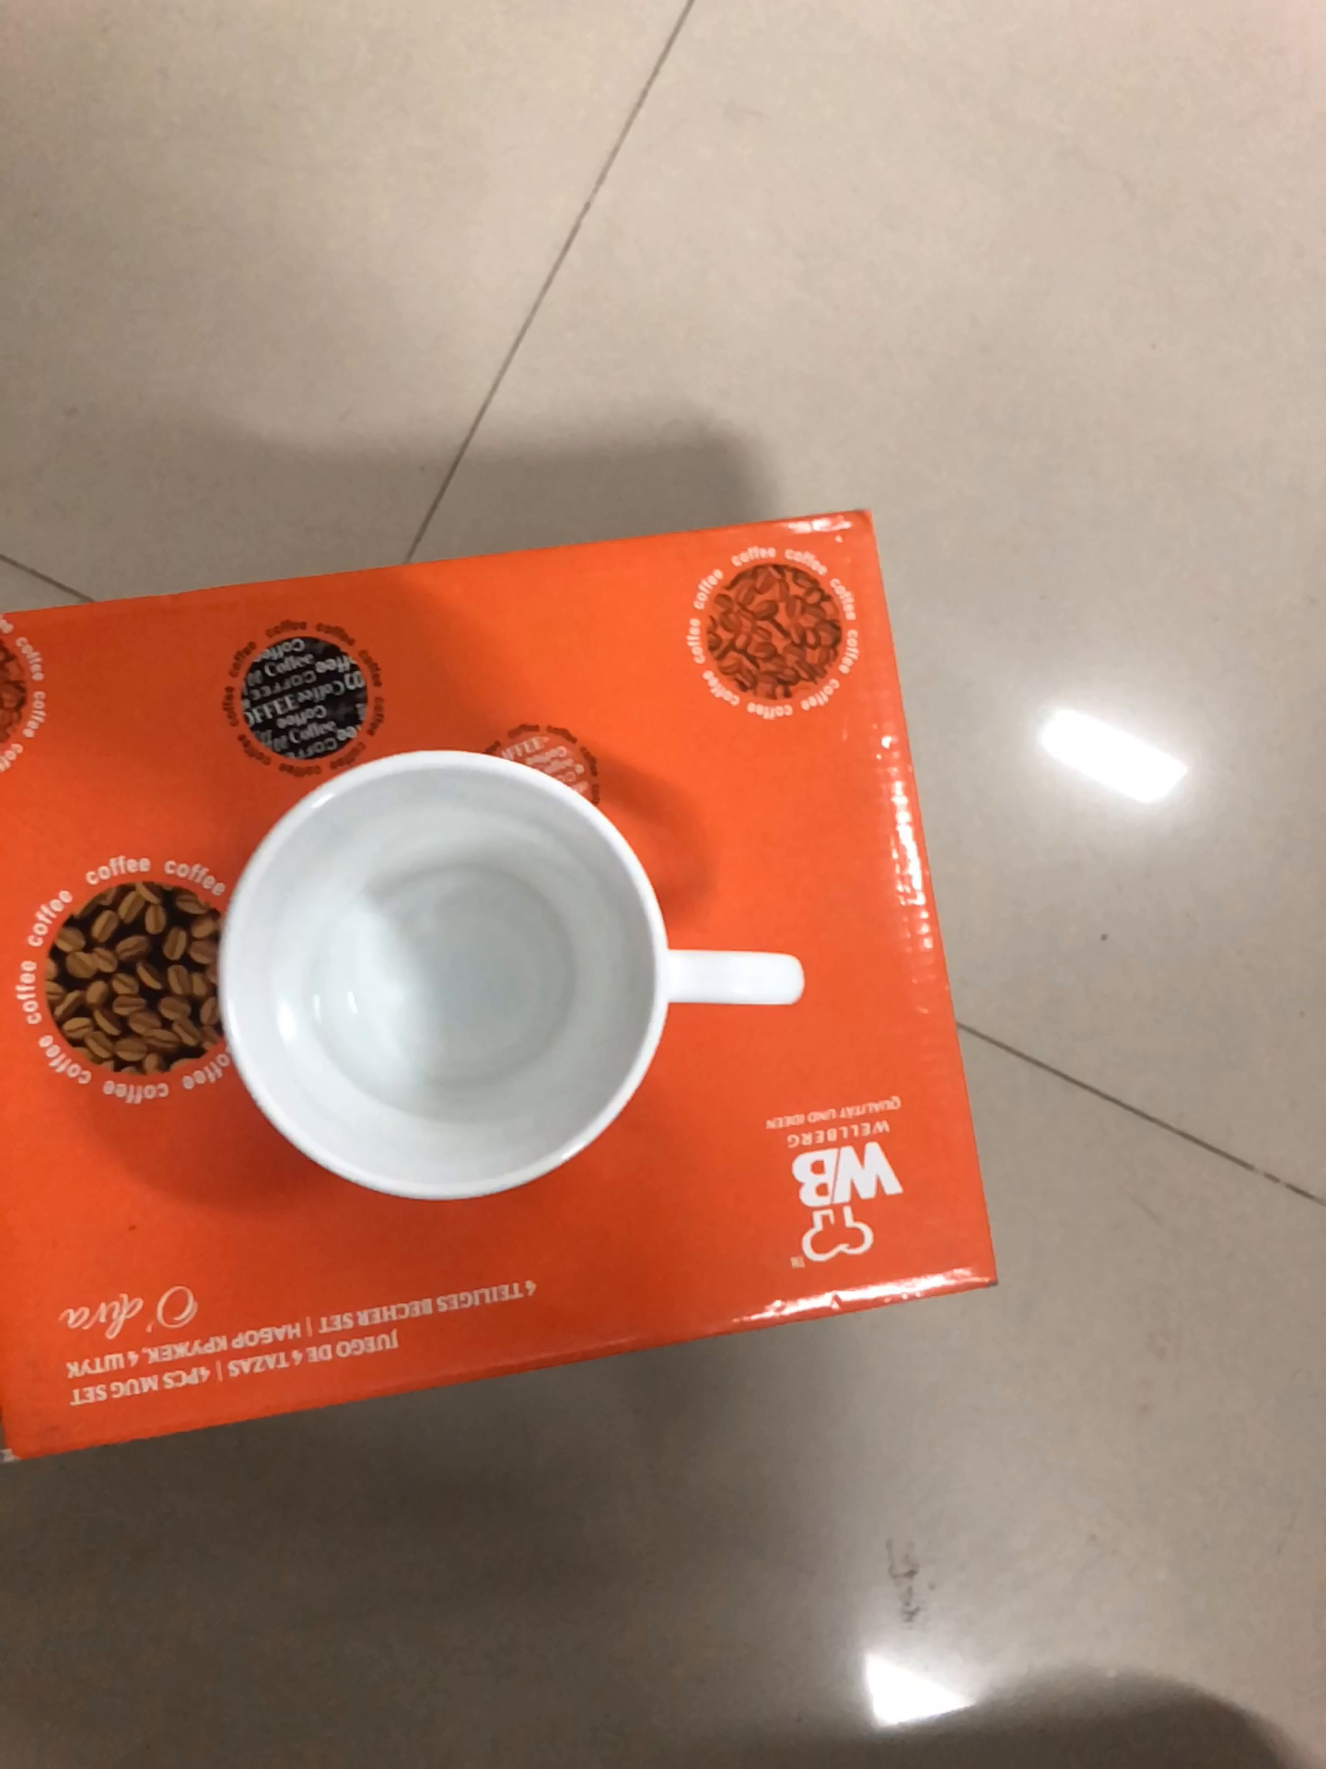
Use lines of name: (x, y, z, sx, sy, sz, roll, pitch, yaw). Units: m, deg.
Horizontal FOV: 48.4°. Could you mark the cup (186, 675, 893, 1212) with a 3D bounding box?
cup: (-0.025, 0.012, 0.298, 0.120, 0.090, 0.090, 0, 87, -6)
